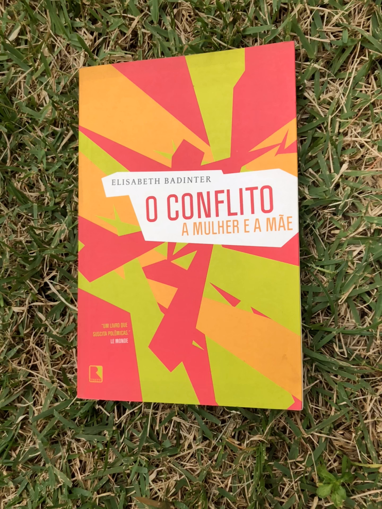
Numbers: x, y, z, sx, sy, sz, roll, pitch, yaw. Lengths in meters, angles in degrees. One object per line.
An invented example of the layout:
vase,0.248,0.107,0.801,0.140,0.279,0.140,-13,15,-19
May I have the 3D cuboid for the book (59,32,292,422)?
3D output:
book,-0.011,-0.015,0.243,0.130,0.020,0.200,-1,87,14
